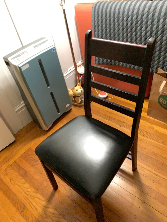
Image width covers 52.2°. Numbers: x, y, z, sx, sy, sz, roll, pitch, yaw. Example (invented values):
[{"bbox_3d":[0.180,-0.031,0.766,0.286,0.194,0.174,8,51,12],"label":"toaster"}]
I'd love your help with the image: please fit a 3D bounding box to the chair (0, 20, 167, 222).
[{"bbox_3d":[0.016,0.115,0.844,0.492,0.865,0.551,22,52,33],"label":"chair"}]
